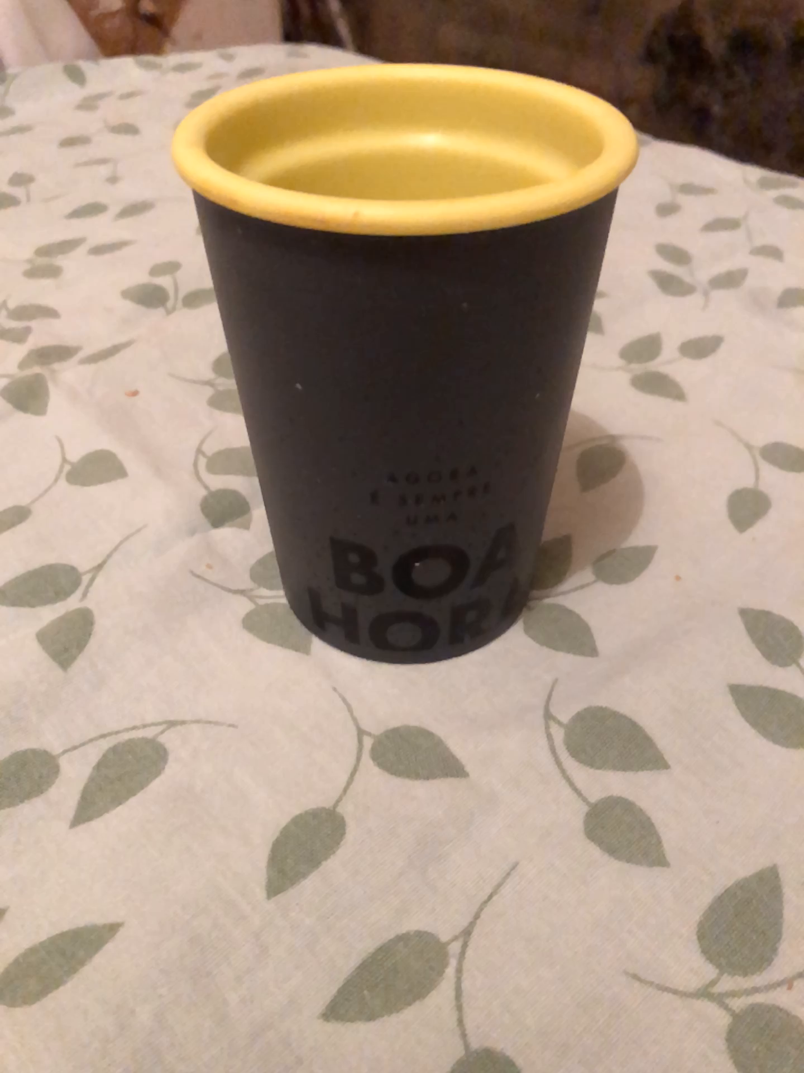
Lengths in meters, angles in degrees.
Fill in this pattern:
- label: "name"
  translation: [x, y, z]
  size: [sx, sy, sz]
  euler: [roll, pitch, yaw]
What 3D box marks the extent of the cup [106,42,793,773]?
- label: "cup"
  translation: [0.002, -0.032, 0.196]
  size: [0.090, 0.109, 0.090]
  euler: [0, 41, 0]
